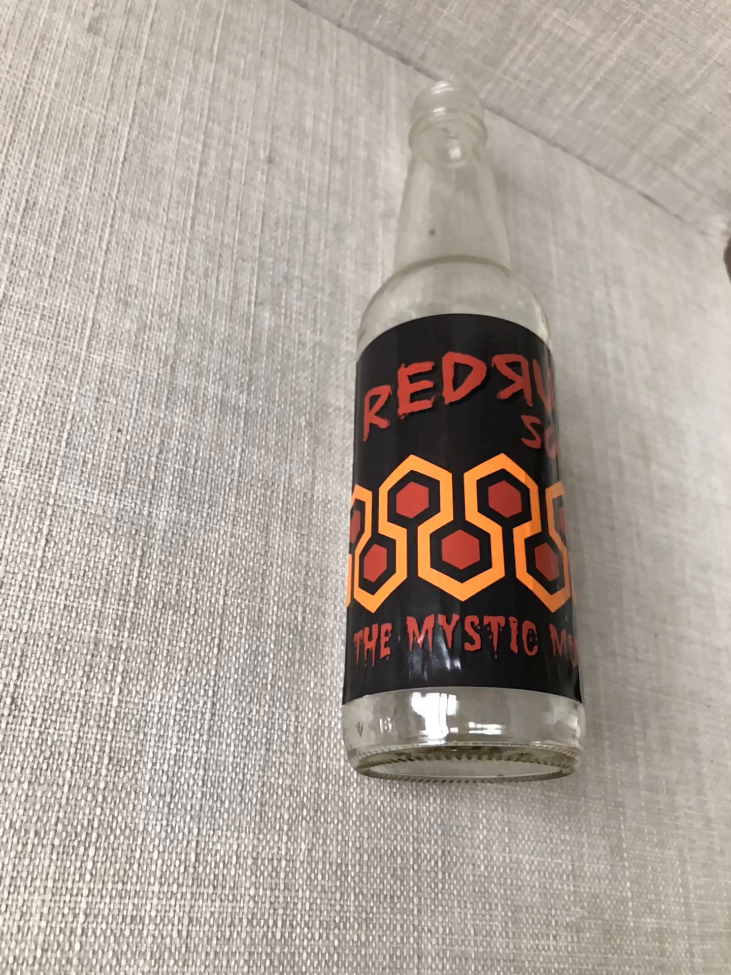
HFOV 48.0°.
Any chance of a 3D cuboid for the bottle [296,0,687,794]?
[{"bbox_3d":[0.030,-0.036,0.241,0.063,0.069,0.231,14,63,-24],"label":"bottle"}]
